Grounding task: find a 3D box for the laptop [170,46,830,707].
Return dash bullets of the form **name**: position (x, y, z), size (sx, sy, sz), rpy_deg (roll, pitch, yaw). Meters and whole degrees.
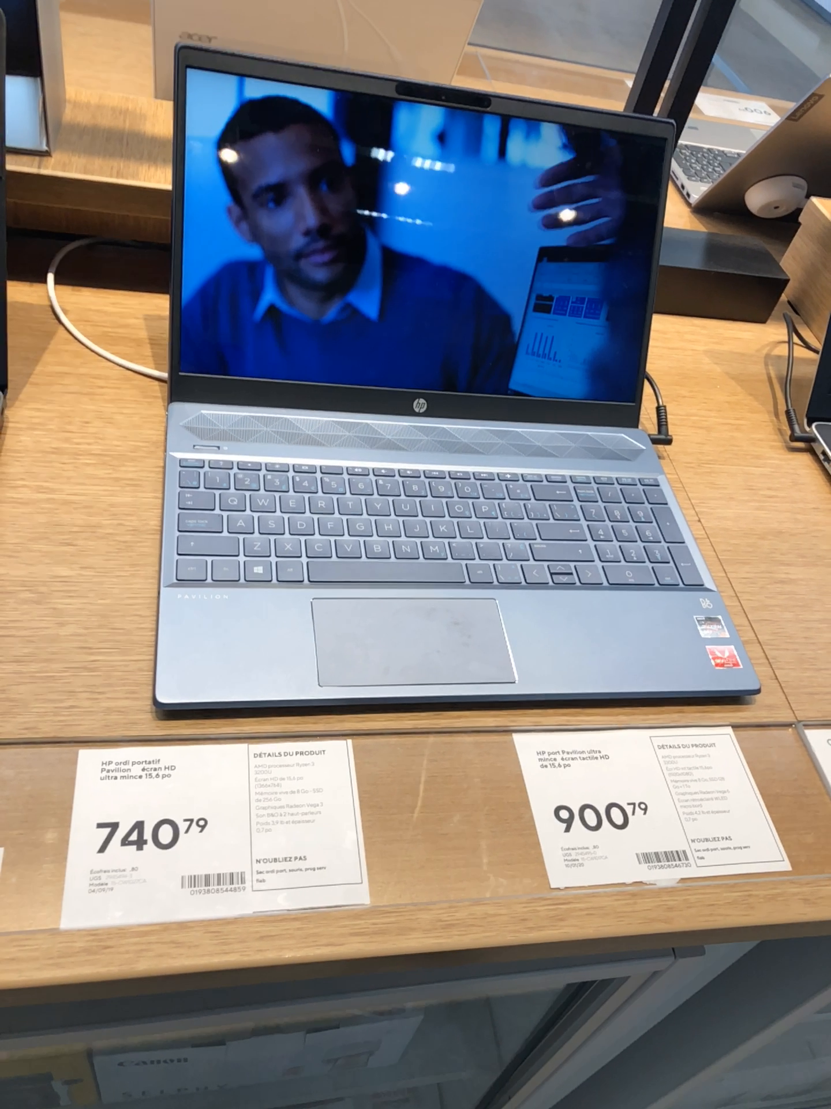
- **laptop**: position (0.030, -0.114, 0.552), size (0.338, 0.185, 0.357), rpy_deg (1, 47, -16)
